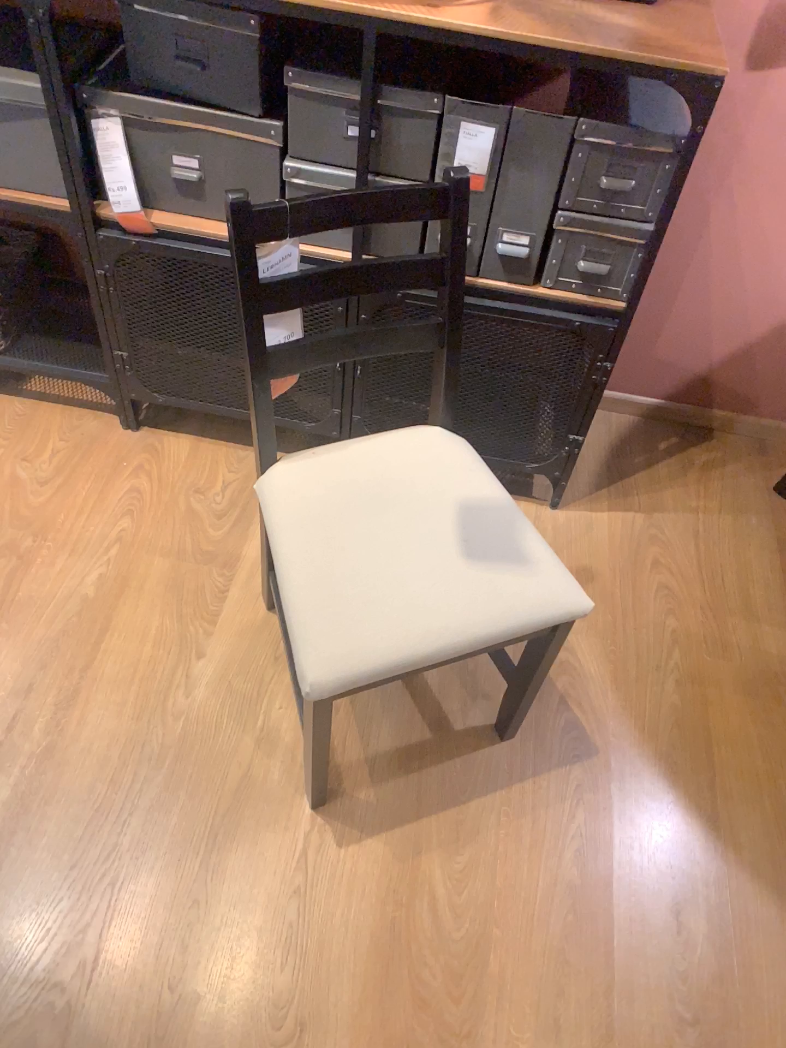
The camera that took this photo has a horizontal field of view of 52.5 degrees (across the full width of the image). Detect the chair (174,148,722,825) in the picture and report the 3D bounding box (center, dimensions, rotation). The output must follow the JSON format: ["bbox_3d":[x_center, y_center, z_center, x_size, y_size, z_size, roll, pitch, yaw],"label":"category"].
[{"bbox_3d":[-0.004,-0.005,1.097,0.400,0.768,0.471,-13,54,-17],"label":"chair"}]
